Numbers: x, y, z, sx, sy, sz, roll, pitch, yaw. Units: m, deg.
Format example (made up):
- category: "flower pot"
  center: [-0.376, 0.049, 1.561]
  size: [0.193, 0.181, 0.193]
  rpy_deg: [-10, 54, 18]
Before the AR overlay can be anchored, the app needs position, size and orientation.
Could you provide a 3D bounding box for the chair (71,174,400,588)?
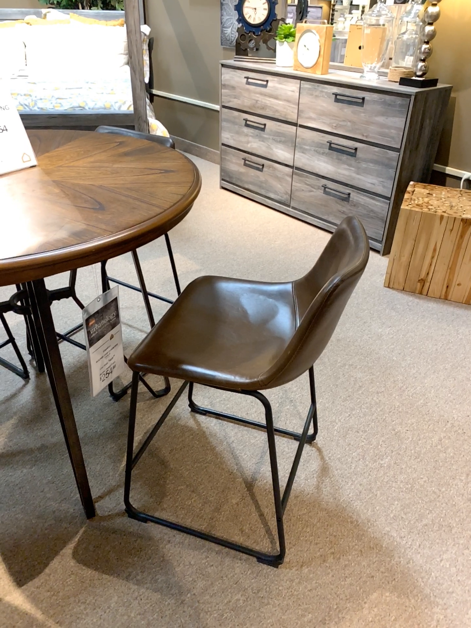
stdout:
- category: "chair"
  center: [0.048, 0.140, 1.303]
  size: [0.580, 0.806, 0.603]
  rpy_deg: [11, 34, 15]
